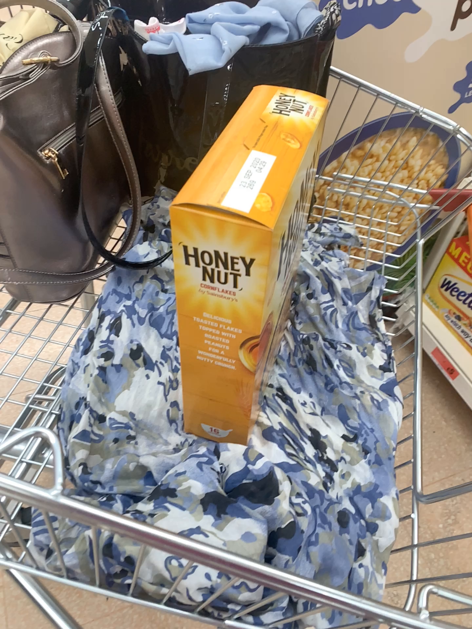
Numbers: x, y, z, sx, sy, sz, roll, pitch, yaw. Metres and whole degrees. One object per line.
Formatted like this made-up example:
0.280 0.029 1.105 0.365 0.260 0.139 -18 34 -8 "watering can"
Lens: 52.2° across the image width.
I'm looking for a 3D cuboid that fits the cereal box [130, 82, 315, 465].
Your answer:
-0.005 -0.028 0.471 0.080 0.297 0.212 14 47 9 "cereal box"
